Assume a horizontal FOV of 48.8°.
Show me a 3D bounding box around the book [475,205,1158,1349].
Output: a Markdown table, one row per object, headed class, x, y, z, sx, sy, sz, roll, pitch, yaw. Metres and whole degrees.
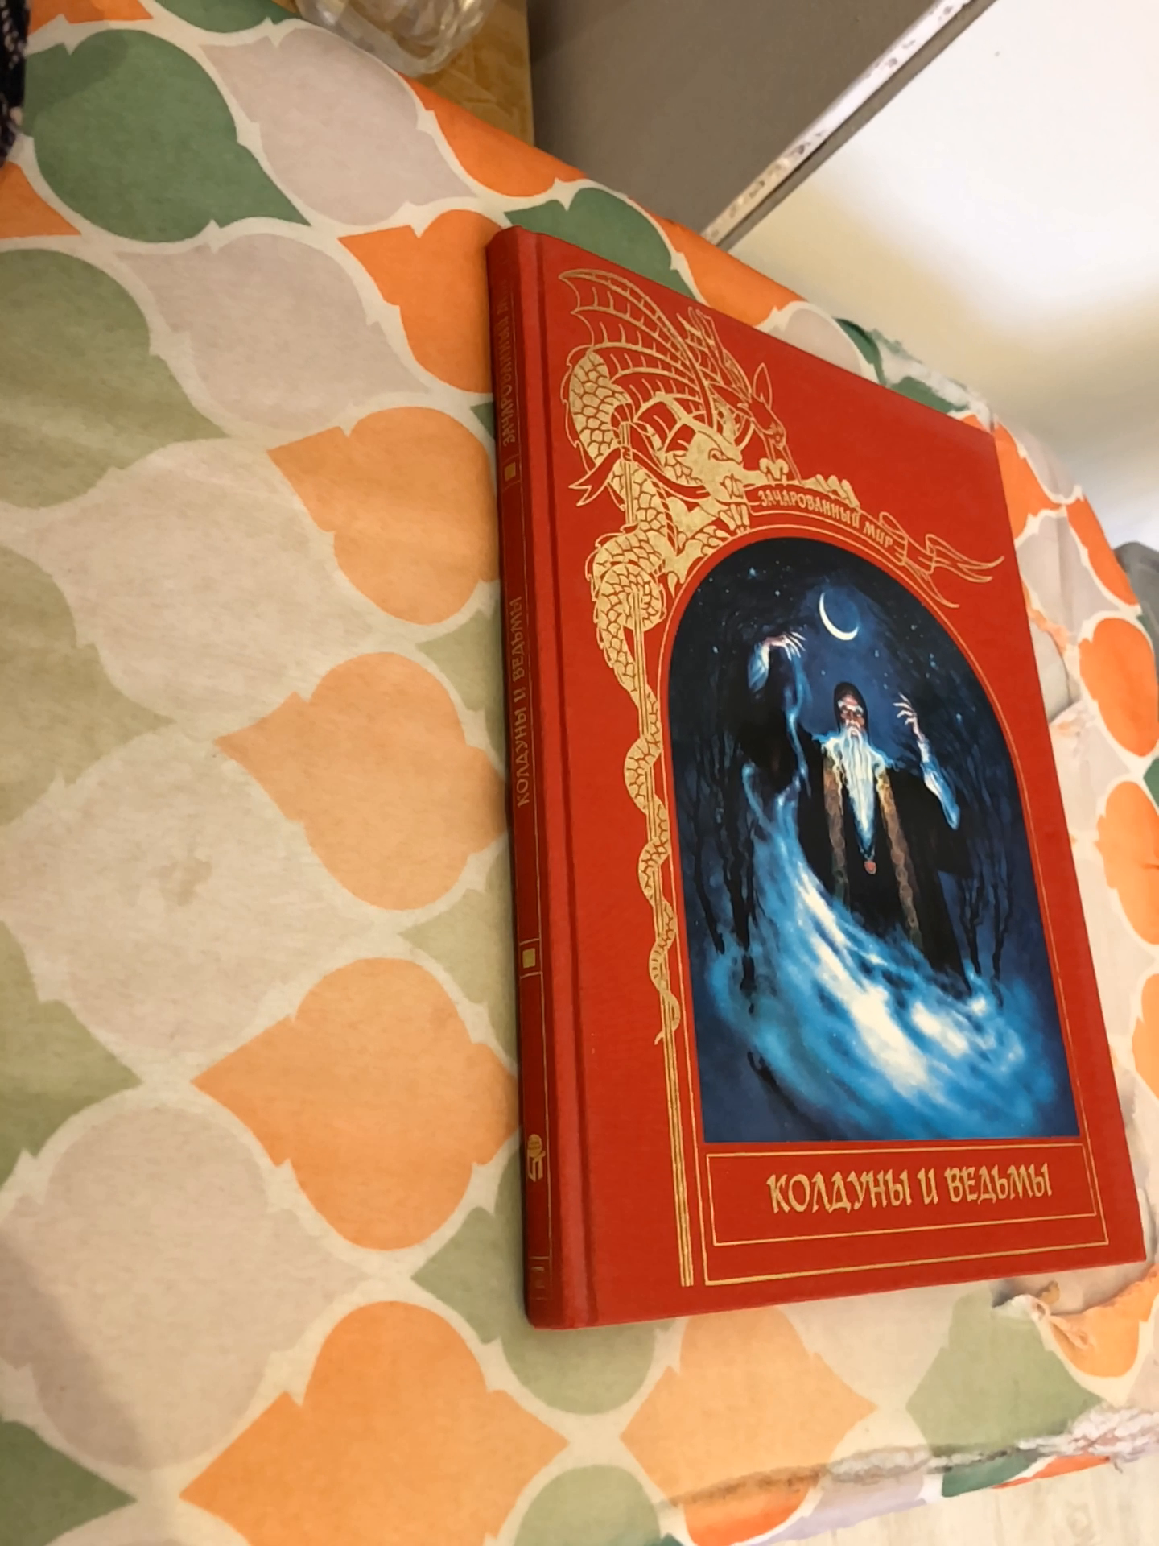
| class | x | y | z | sx | sy | sz | roll | pitch | yaw |
| --- | --- | --- | --- | --- | --- | --- | --- | --- | --- |
| book | 0.073 | -0.003 | 0.373 | 0.216 | 0.020 | 0.291 | 10 | 66 | -34 |
